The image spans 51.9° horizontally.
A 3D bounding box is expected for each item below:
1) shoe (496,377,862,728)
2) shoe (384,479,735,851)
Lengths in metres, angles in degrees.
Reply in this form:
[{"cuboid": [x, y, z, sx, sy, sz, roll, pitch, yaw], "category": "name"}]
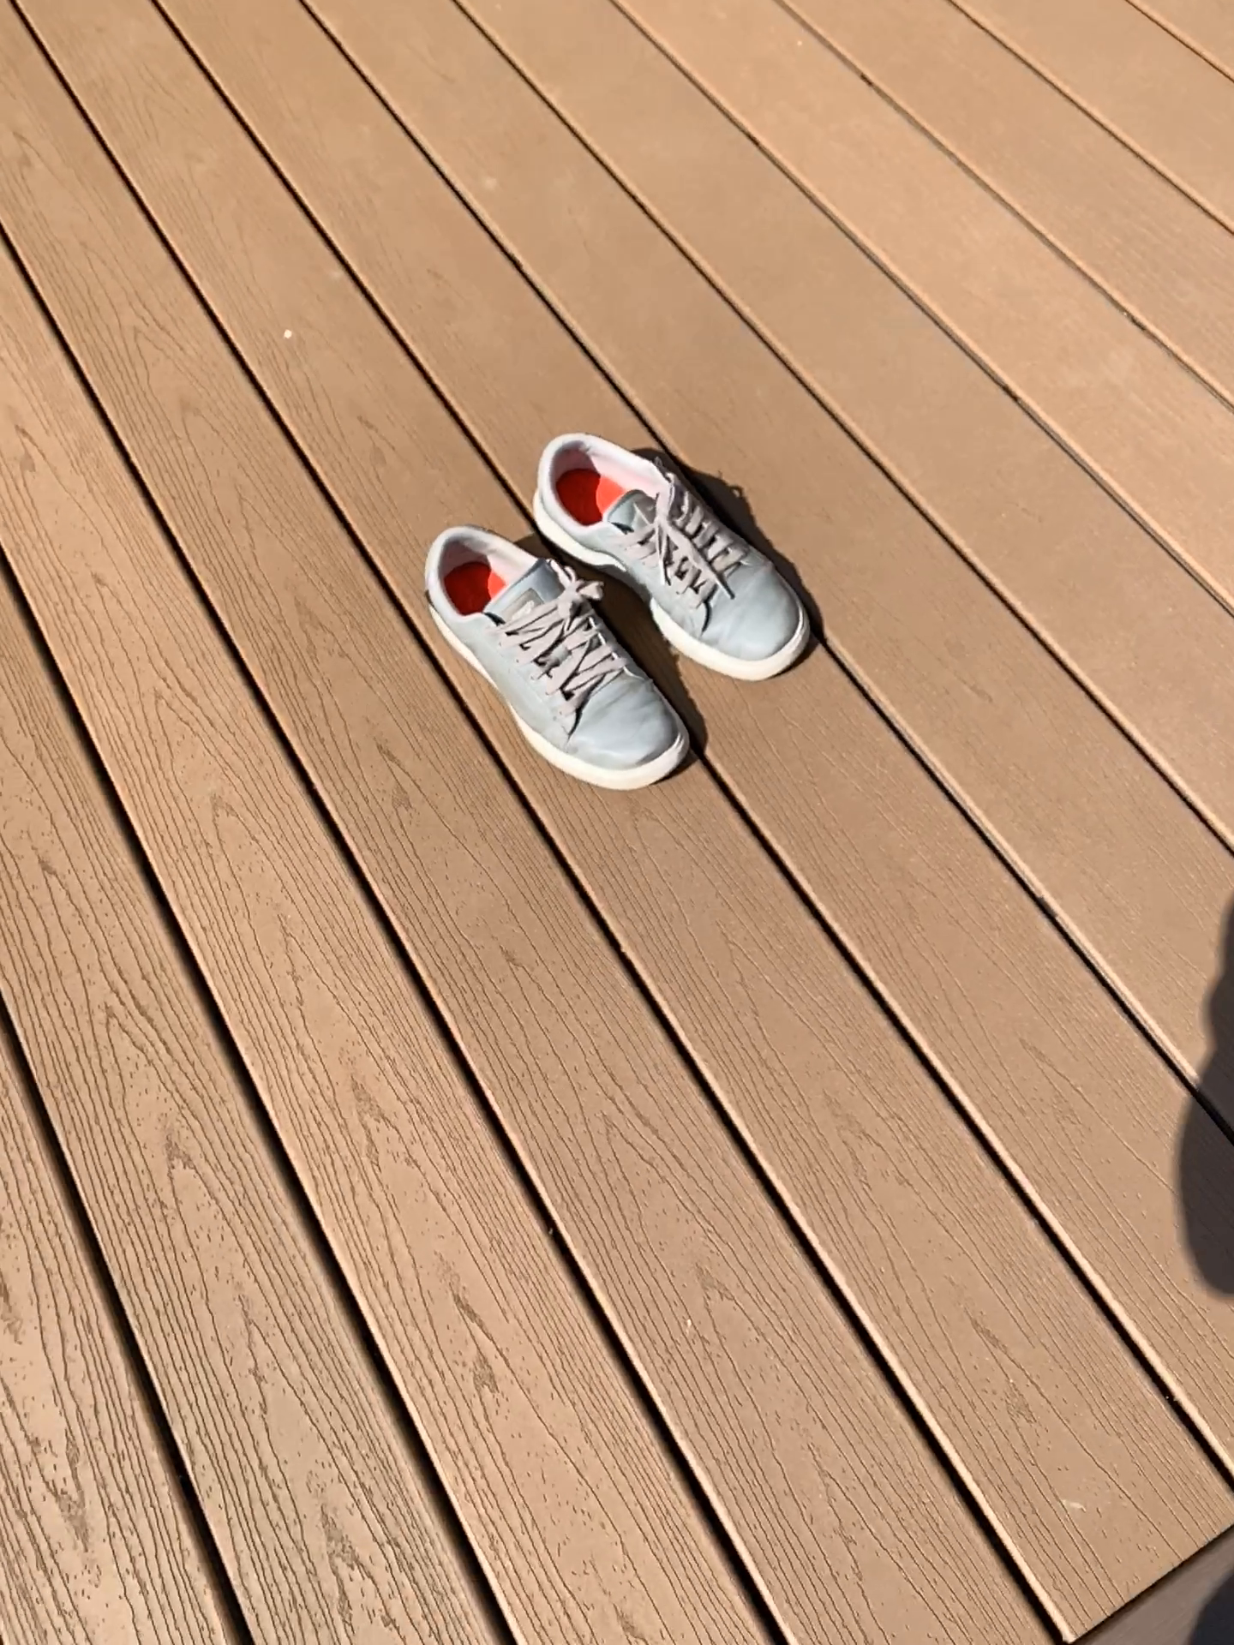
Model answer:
[{"cuboid": [0.048, -0.228, 1.056, 0.120, 0.100, 0.291, -43, 68, -13], "category": "shoe"}, {"cuboid": [-0.047, -0.132, 1.038, 0.120, 0.100, 0.291, -39, 68, -12], "category": "shoe"}]
